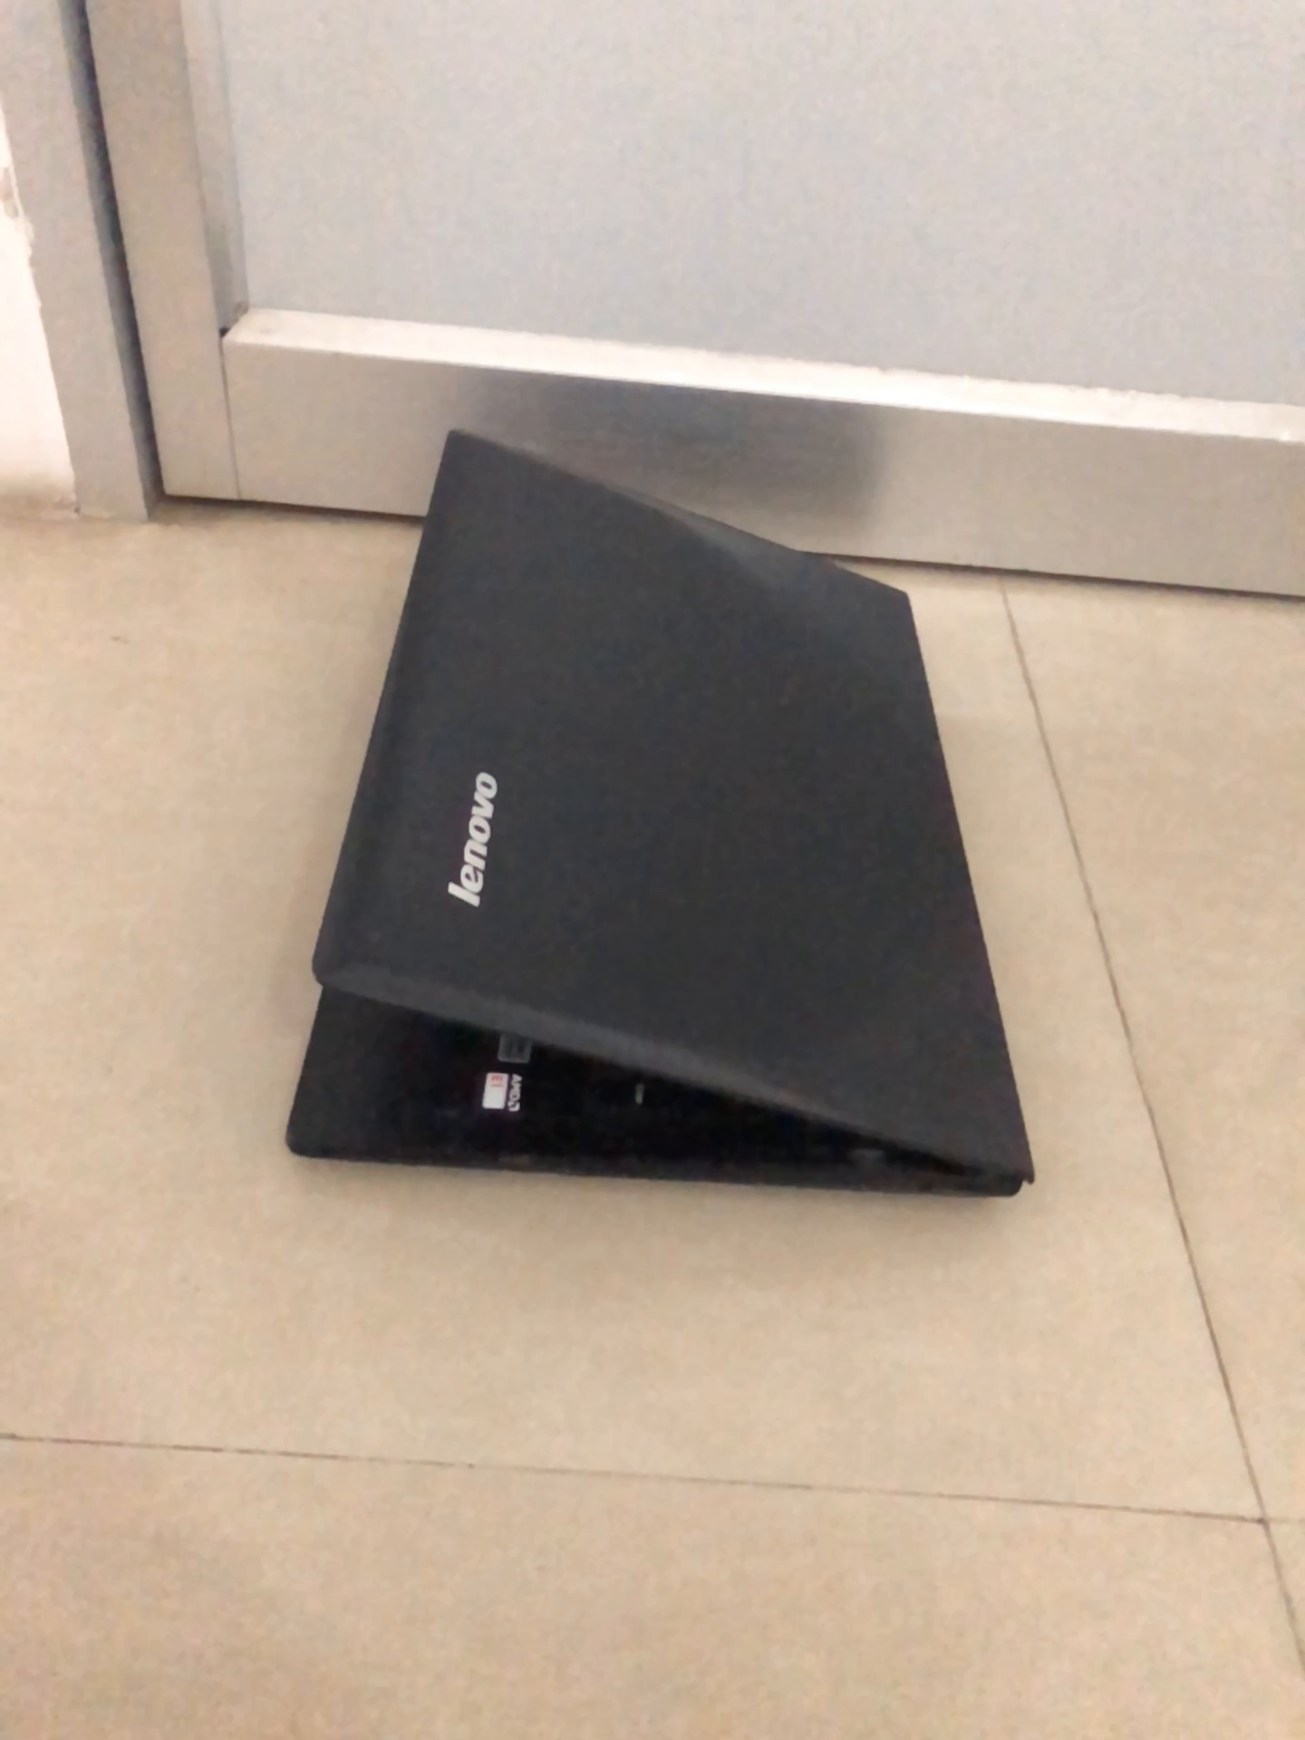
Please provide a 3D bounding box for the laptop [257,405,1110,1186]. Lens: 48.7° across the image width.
[{"bbox_3d":[0.010,-0.056,0.600,0.257,0.097,0.369,4,42,-4],"label":"laptop"}]
